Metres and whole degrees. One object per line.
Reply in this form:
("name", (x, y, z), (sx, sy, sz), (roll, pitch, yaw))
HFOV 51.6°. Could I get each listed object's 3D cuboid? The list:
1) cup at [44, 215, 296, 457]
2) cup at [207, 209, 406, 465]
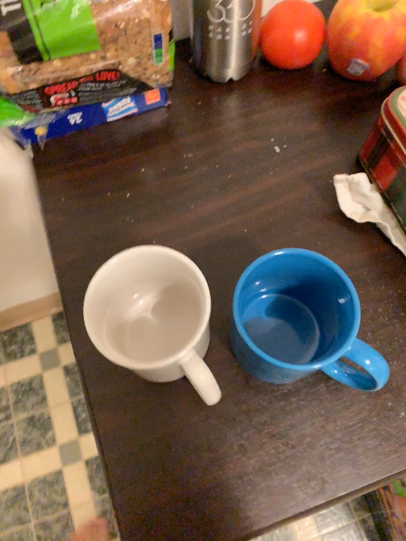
("cup", (-0.021, 0.050, 0.308), (0.130, 0.100, 0.090), (37, 75, 14))
("cup", (0.086, 0.049, 0.301), (0.140, 0.100, 0.090), (35, 74, 13))
